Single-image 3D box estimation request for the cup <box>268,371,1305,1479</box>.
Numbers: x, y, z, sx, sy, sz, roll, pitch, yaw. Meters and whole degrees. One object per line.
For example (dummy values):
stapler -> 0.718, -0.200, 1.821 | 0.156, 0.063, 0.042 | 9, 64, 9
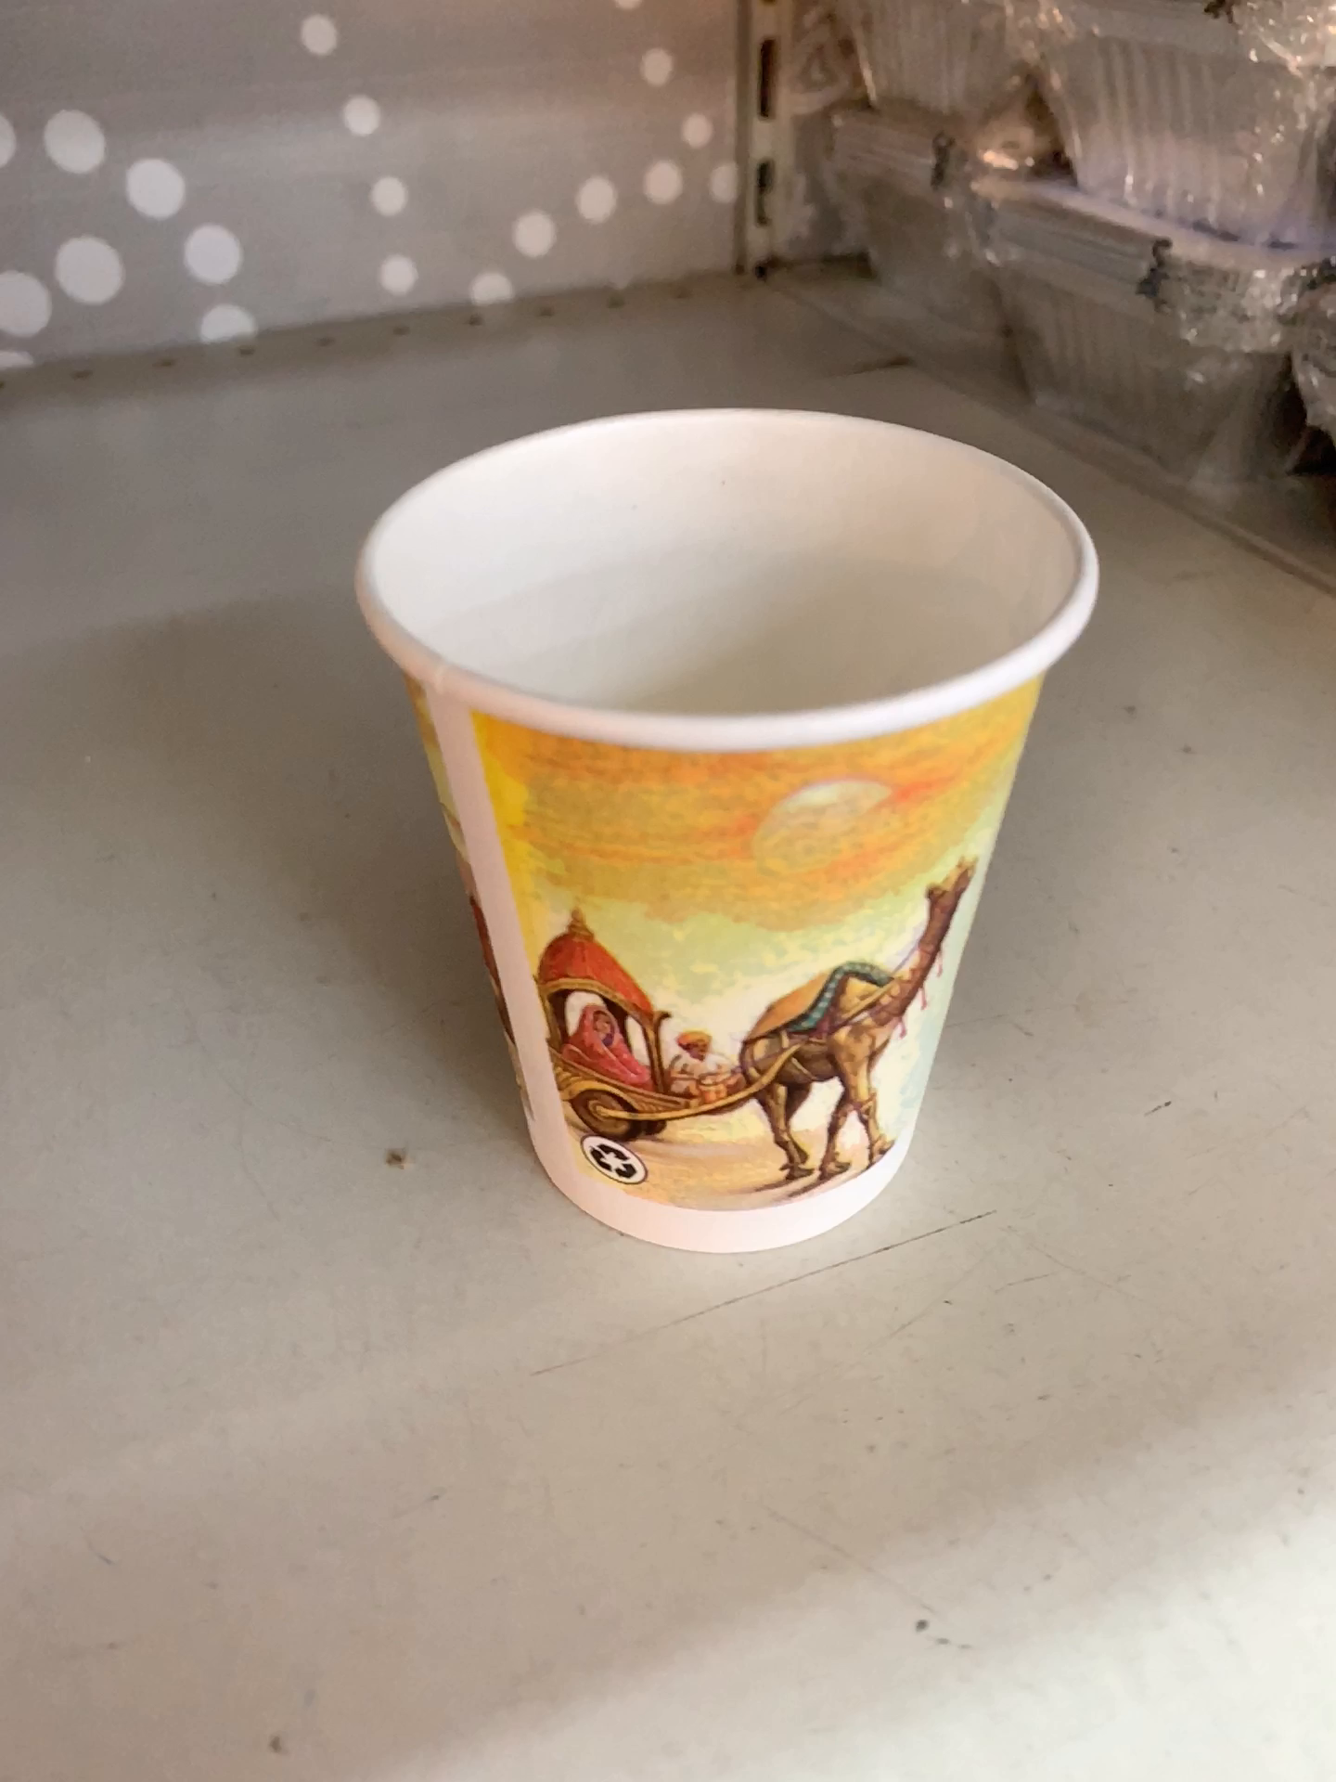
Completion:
cup -> 0.006, -0.002, 0.154 | 0.070, 0.079, 0.070 | 0, 37, 0
